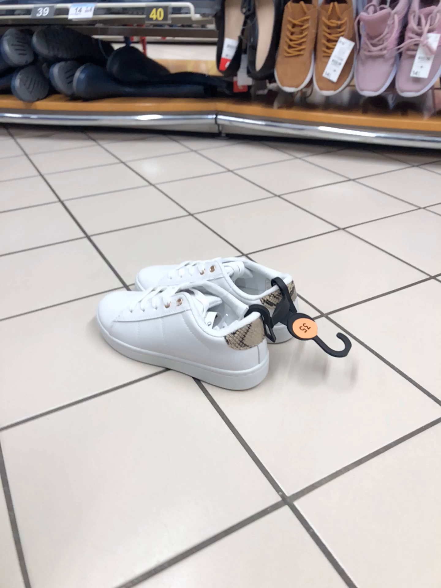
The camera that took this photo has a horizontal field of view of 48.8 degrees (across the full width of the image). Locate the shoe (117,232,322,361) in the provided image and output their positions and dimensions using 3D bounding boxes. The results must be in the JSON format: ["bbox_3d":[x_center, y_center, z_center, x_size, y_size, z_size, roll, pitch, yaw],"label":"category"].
[{"bbox_3d":[-0.003,-0.005,0.624,0.240,0.080,0.091,14,34,23],"label":"shoe"}]

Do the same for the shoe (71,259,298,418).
[{"bbox_3d":[-0.043,0.040,0.555,0.240,0.080,0.091,16,35,26],"label":"shoe"}]
